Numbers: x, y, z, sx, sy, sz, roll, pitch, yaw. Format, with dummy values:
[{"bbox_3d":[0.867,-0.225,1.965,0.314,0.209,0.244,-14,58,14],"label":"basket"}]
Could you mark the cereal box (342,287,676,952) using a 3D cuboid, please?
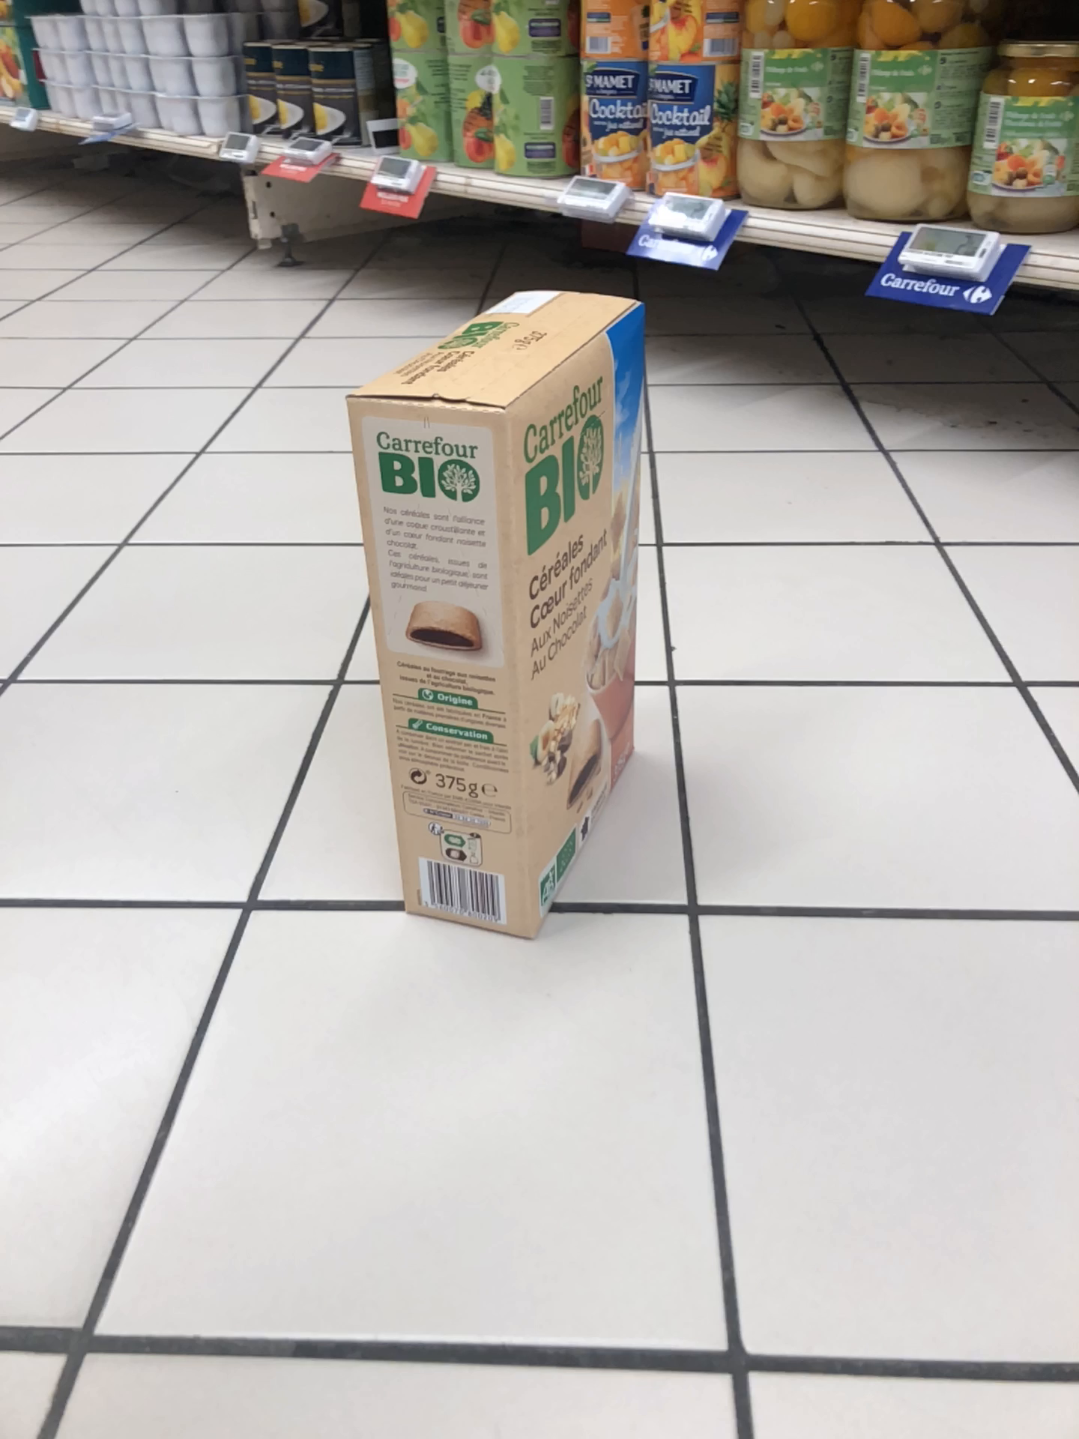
[{"bbox_3d":[-0.002,-0.049,0.513,0.070,0.229,0.171,10,33,18],"label":"cereal box"}]
